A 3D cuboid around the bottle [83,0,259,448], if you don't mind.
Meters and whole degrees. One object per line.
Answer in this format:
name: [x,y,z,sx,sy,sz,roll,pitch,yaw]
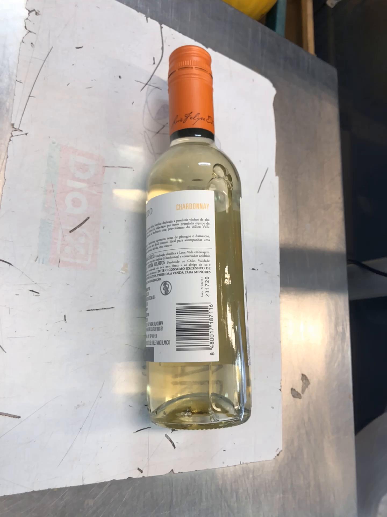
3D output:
bottle: [-0.013,-0.039,0.267,0.070,0.070,0.270,14,72,-54]
